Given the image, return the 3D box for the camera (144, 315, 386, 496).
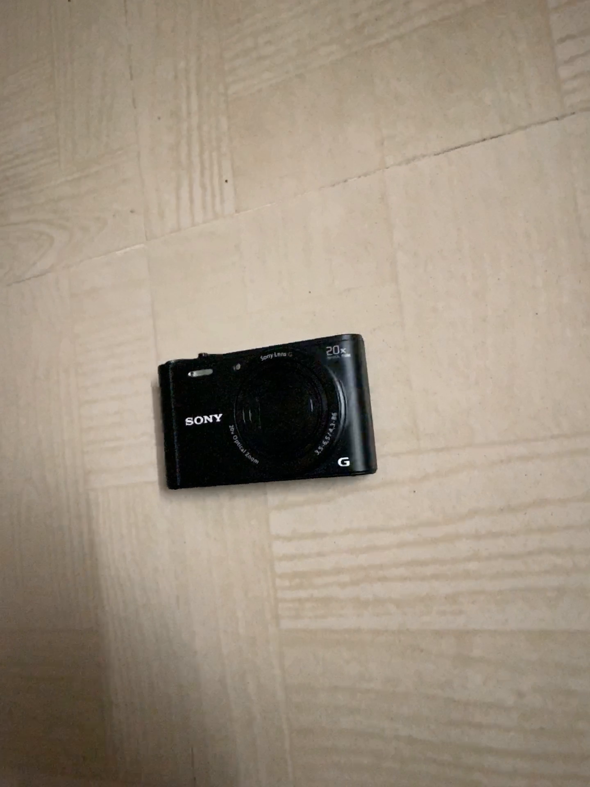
[{"bbox_3d":[-0.014,0.008,0.250,0.092,0.025,0.060,-8,85,24],"label":"camera"}]
